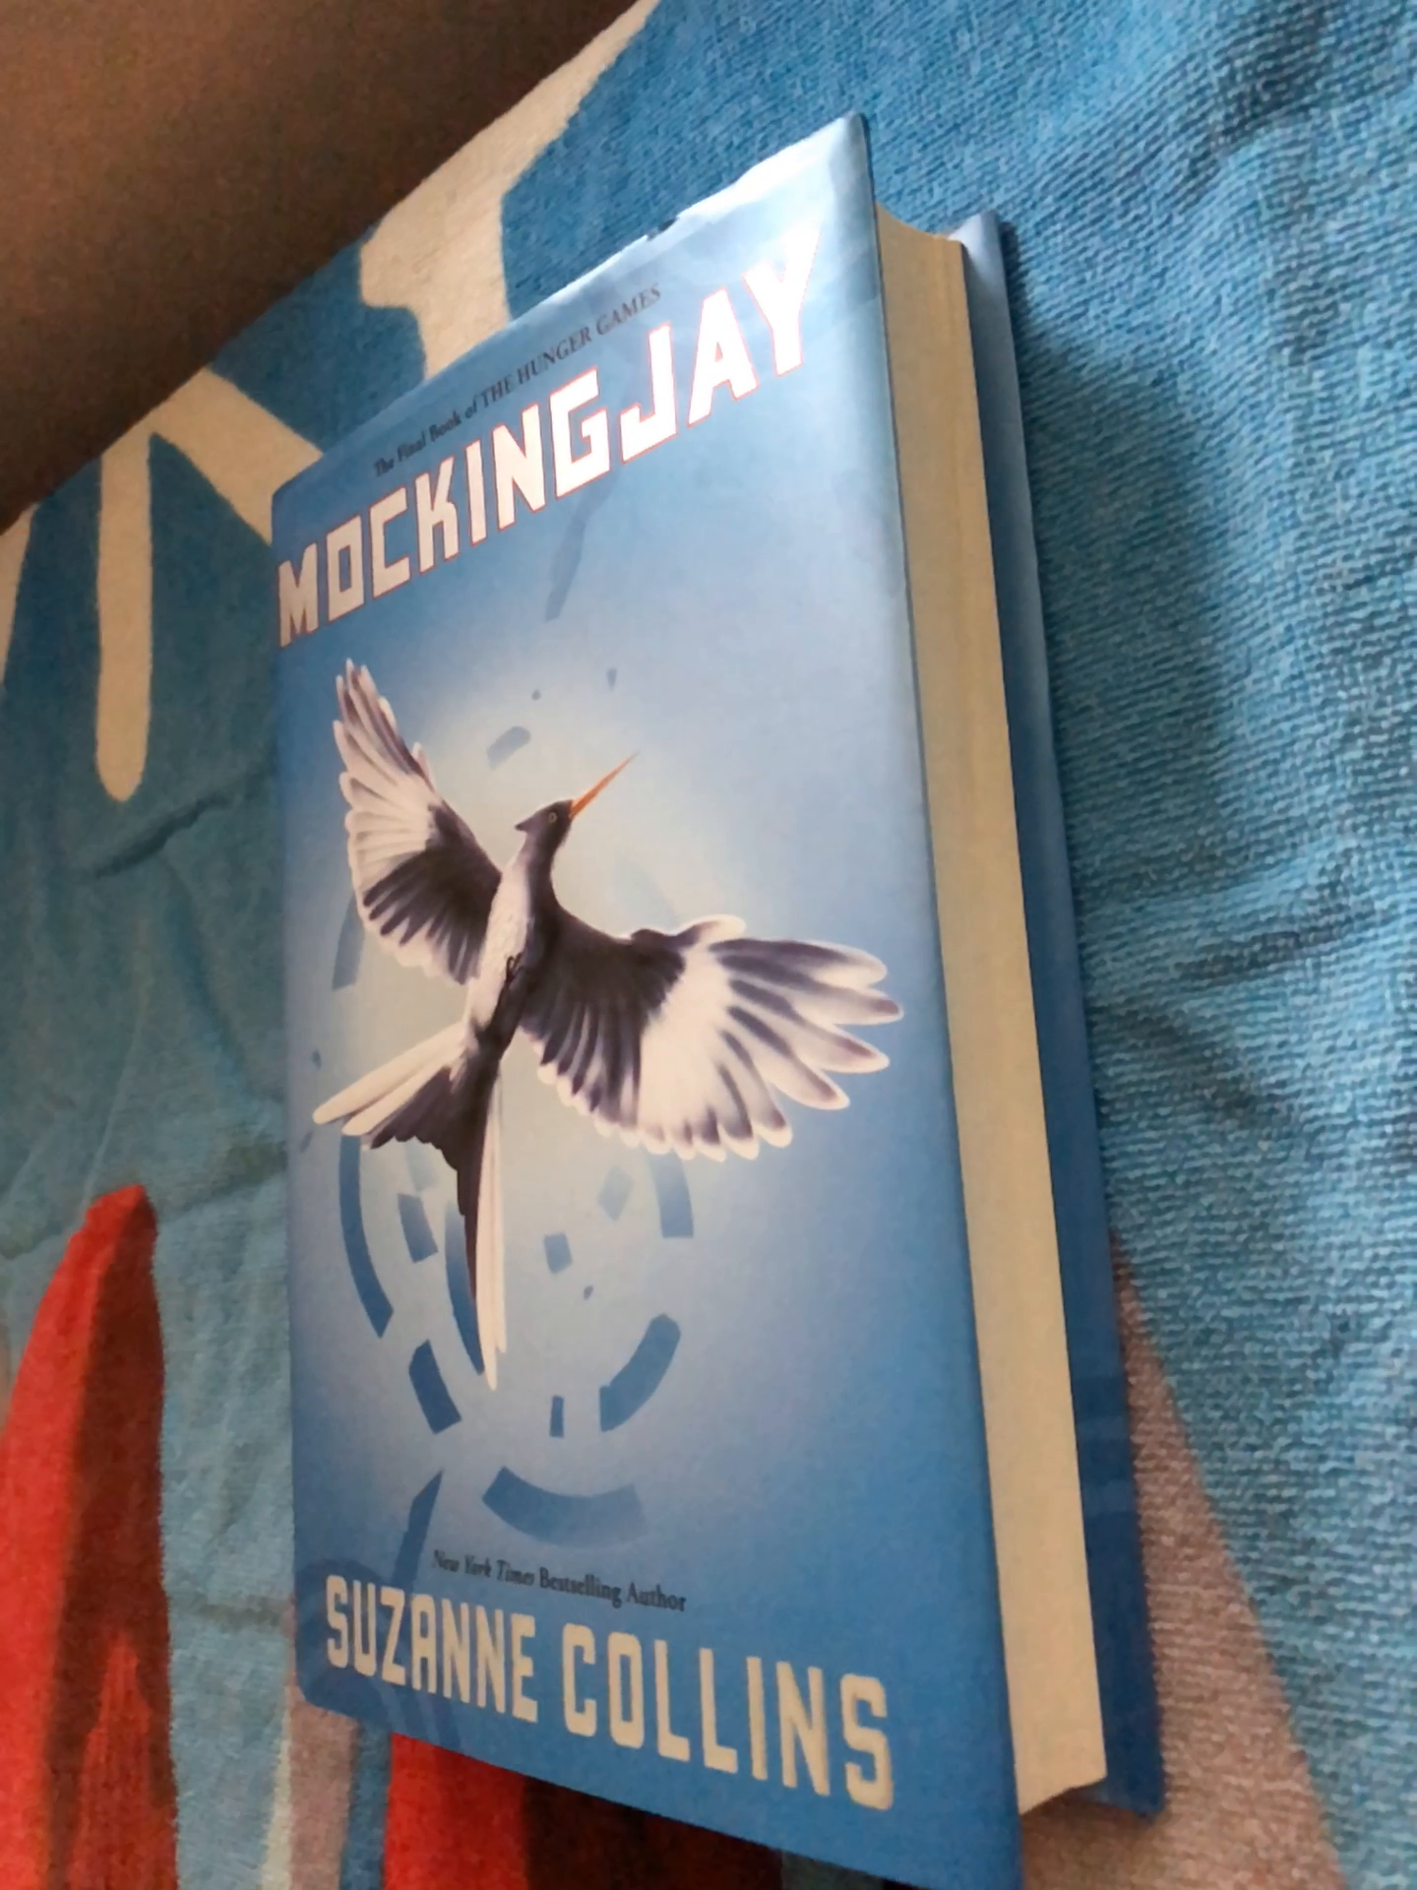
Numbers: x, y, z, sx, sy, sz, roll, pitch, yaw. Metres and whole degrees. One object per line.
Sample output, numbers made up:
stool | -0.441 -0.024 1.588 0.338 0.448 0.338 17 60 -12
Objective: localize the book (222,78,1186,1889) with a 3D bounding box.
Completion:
book | -0.017 0.010 0.228 0.141 0.040 0.200 -13 76 43
